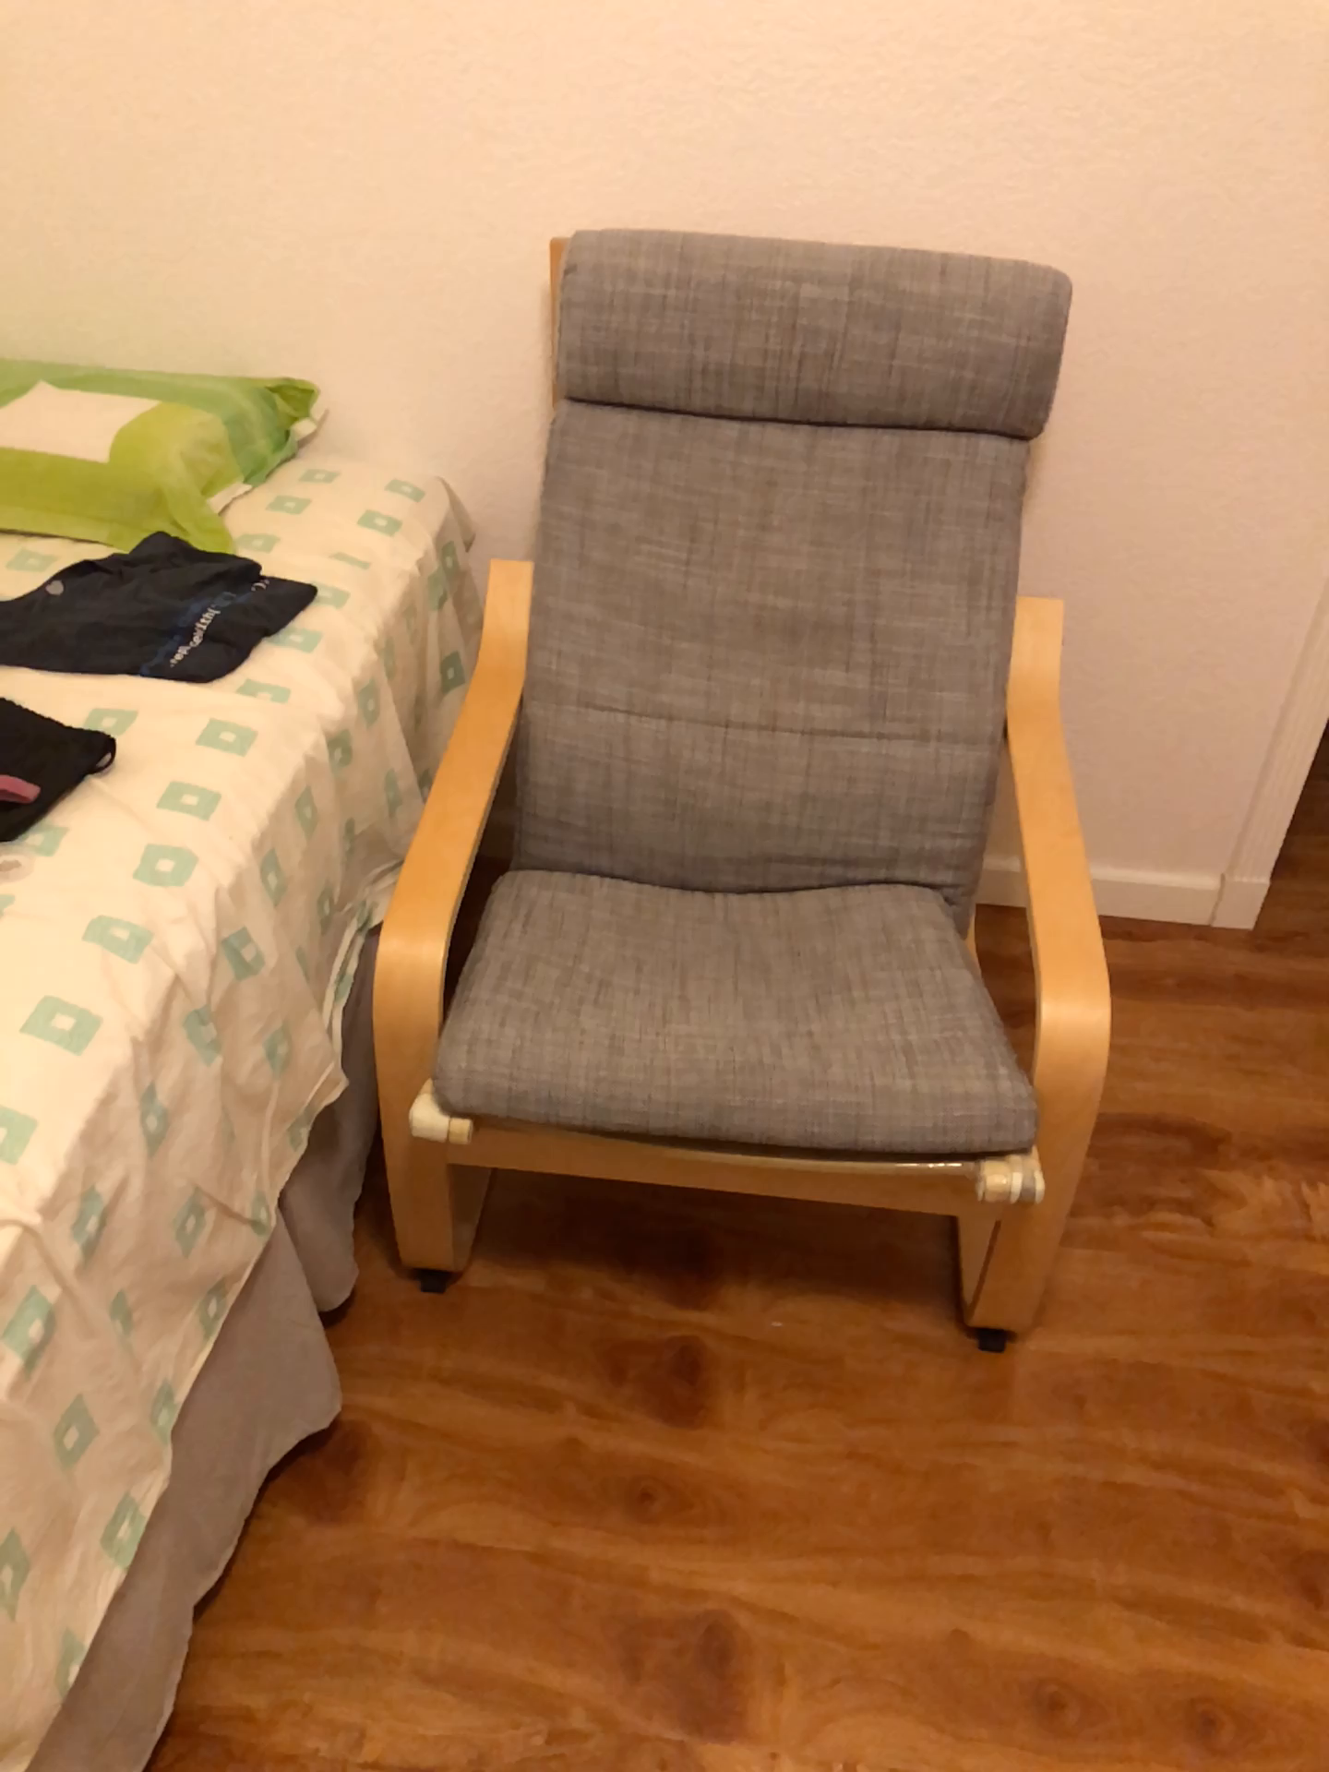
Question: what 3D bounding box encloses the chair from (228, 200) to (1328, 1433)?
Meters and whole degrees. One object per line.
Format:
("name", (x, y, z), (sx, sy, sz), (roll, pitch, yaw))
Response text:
("chair", (0.094, -0.106, 1.471), (0.680, 0.885, 0.805), (6, 37, 4))
